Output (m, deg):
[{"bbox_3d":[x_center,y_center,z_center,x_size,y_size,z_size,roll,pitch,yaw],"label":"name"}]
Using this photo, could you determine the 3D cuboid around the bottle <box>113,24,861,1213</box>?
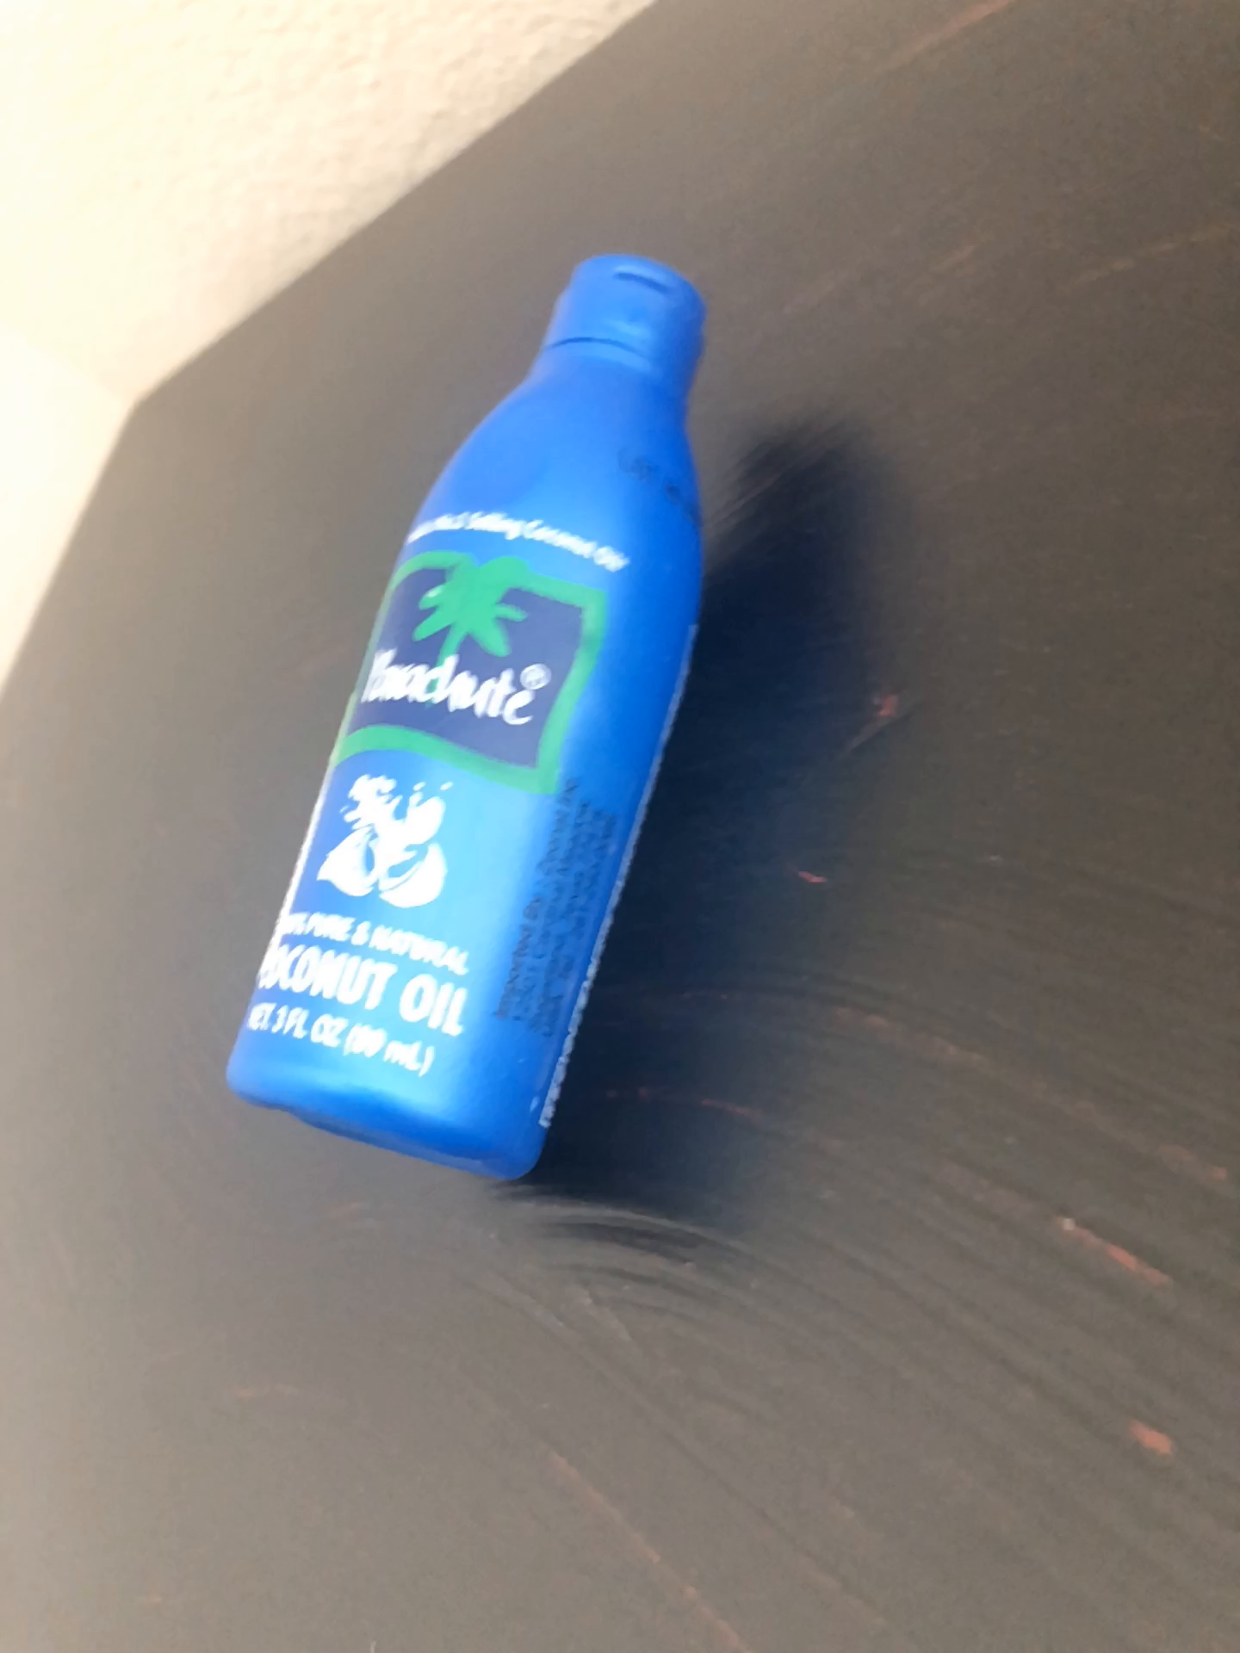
[{"bbox_3d":[-0.009,-0.029,0.175,0.040,0.040,0.140,9,71,23],"label":"bottle"}]
